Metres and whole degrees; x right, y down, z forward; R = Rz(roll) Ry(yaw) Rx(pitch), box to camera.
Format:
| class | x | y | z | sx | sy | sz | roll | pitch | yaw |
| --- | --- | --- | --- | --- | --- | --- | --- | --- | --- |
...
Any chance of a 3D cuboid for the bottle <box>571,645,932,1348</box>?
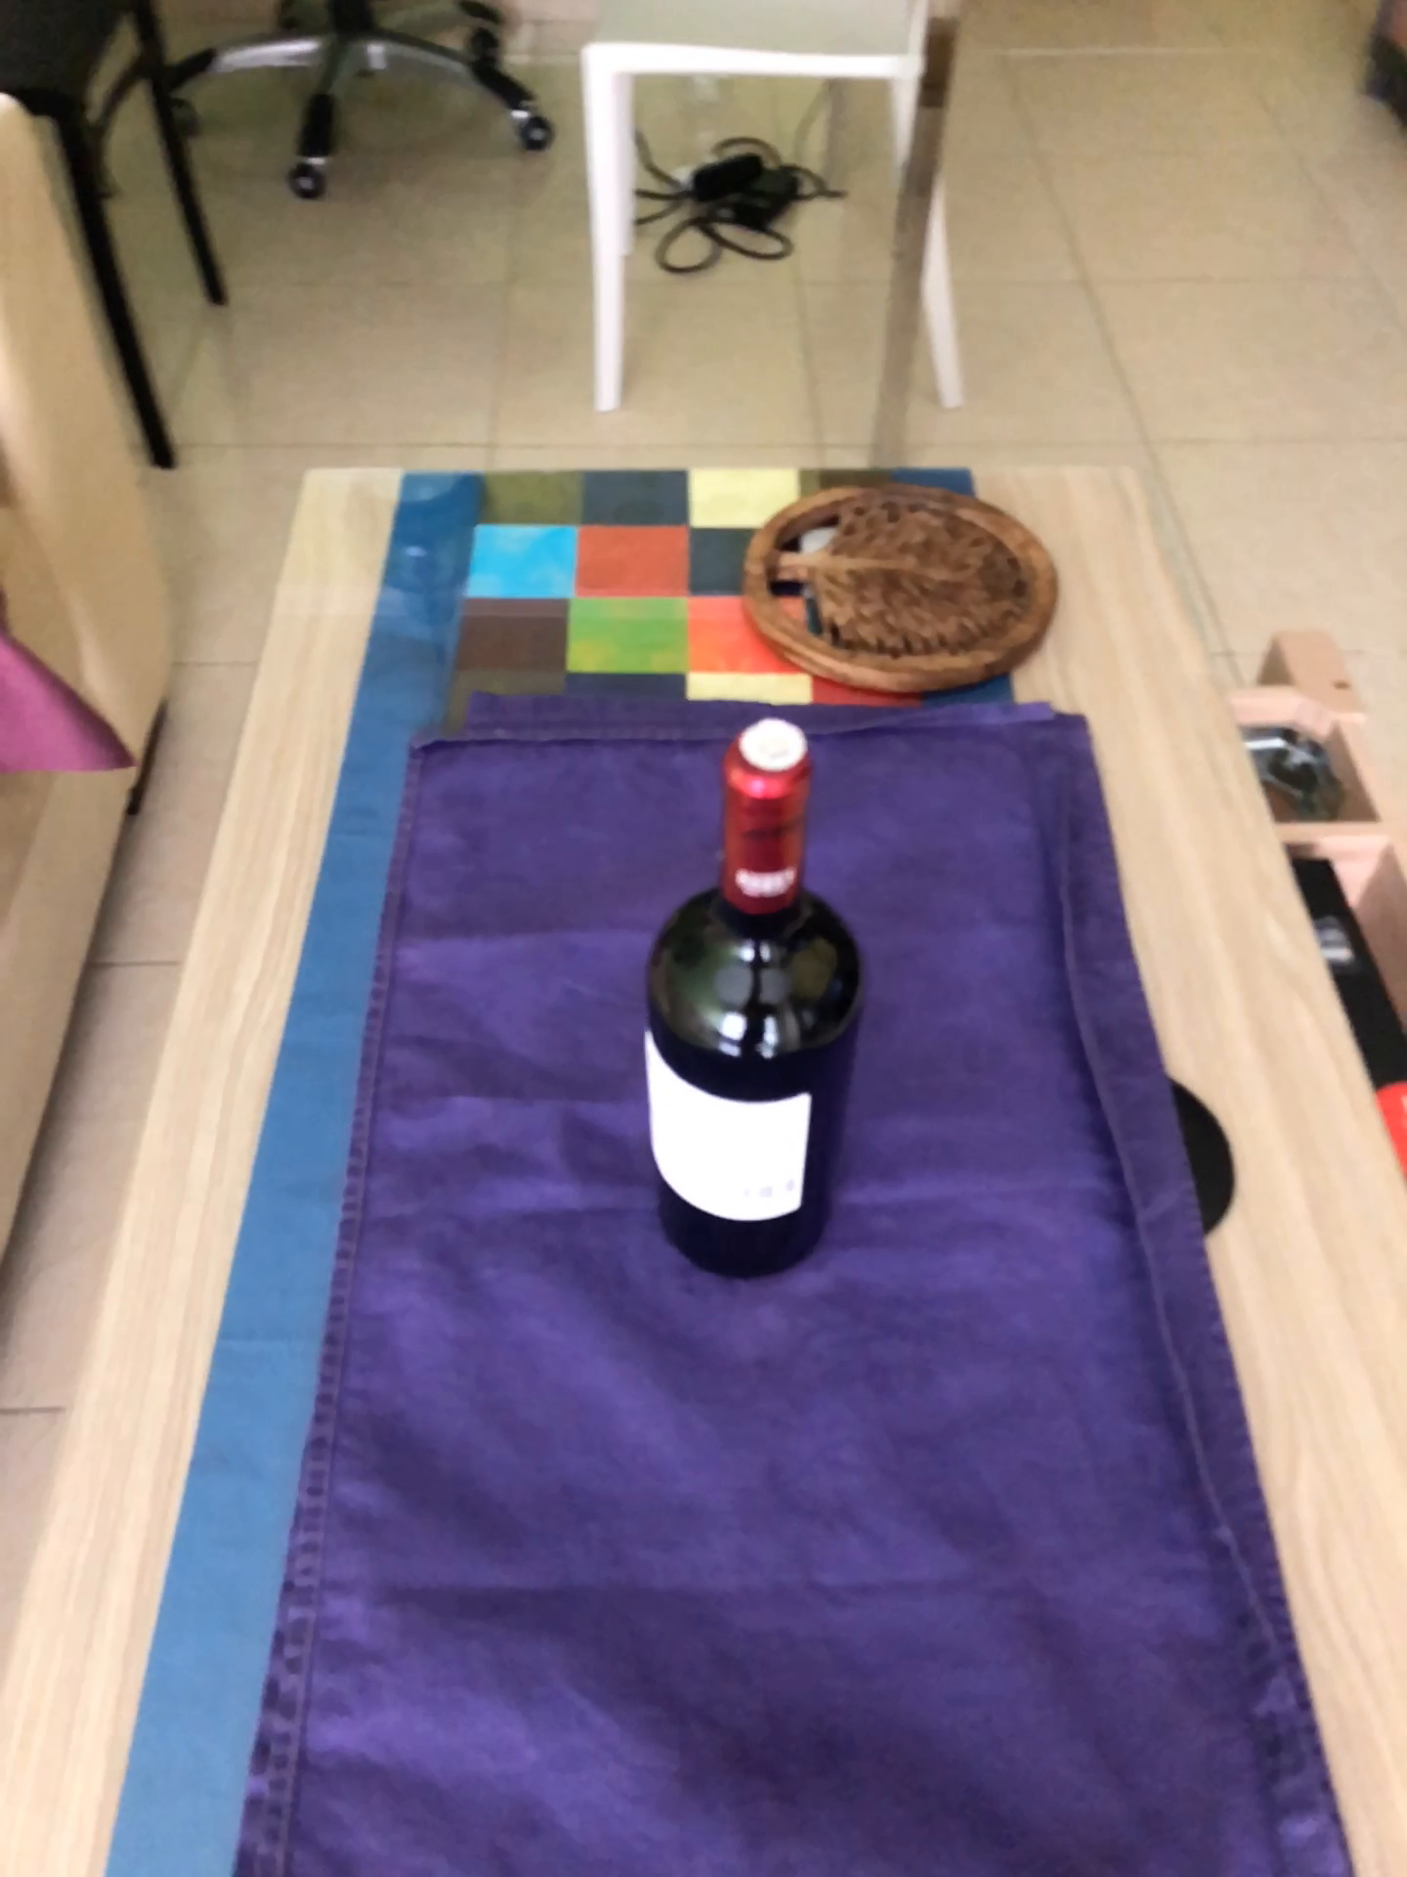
| class | x | y | z | sx | sy | sz | roll | pitch | yaw |
| --- | --- | --- | --- | --- | --- | --- | --- | --- | --- |
| bottle | 0.015 | 0.036 | 0.551 | 0.090 | 0.269 | 0.090 | 0 | 49 | 0 |
